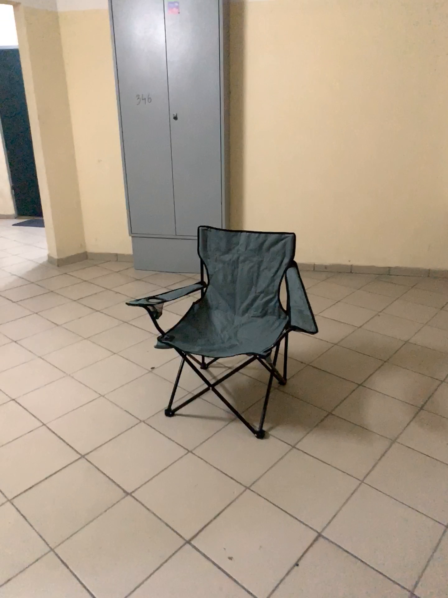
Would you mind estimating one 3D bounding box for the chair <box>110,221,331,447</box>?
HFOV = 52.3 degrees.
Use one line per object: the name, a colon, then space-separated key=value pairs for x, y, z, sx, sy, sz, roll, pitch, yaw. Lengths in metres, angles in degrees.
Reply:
chair: x=0.023 y=0.103 z=2.061 sx=0.801 sy=0.757 sz=0.562 roll=6 pitch=22 yaw=17
